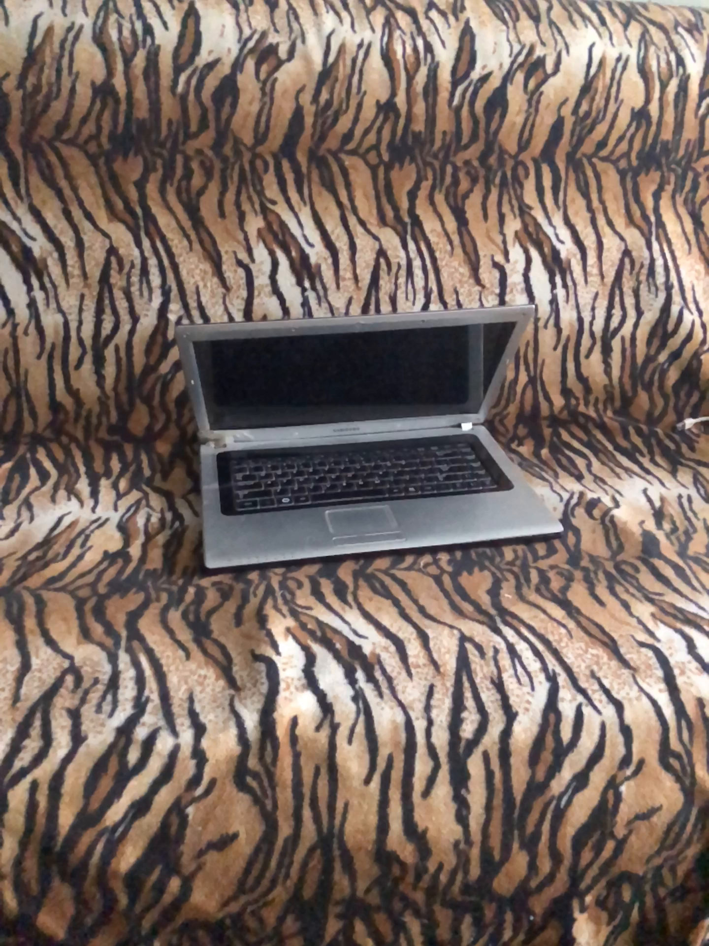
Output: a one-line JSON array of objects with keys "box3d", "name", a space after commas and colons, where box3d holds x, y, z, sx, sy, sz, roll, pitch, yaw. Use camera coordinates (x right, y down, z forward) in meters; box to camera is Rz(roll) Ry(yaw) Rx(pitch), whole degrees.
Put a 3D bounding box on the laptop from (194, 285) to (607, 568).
[{"box3d": [0.020, -0.063, 0.798, 0.350, 0.179, 0.239, -4, 31, -11], "name": "laptop"}]
